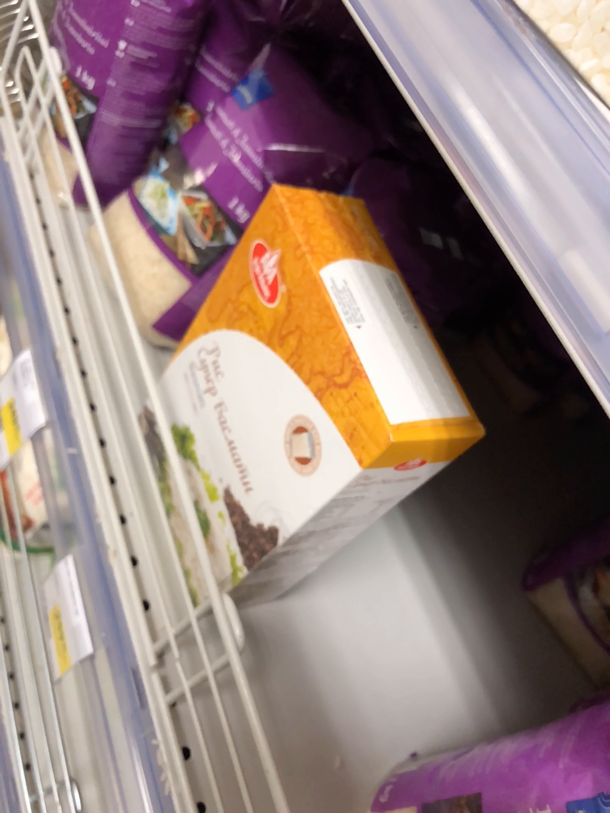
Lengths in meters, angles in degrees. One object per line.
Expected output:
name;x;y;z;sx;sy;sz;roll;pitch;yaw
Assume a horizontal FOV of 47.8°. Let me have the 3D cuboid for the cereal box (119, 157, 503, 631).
cereal box;-0.018;0.005;0.340;0.060;0.189;0.140;-2;58;-37
